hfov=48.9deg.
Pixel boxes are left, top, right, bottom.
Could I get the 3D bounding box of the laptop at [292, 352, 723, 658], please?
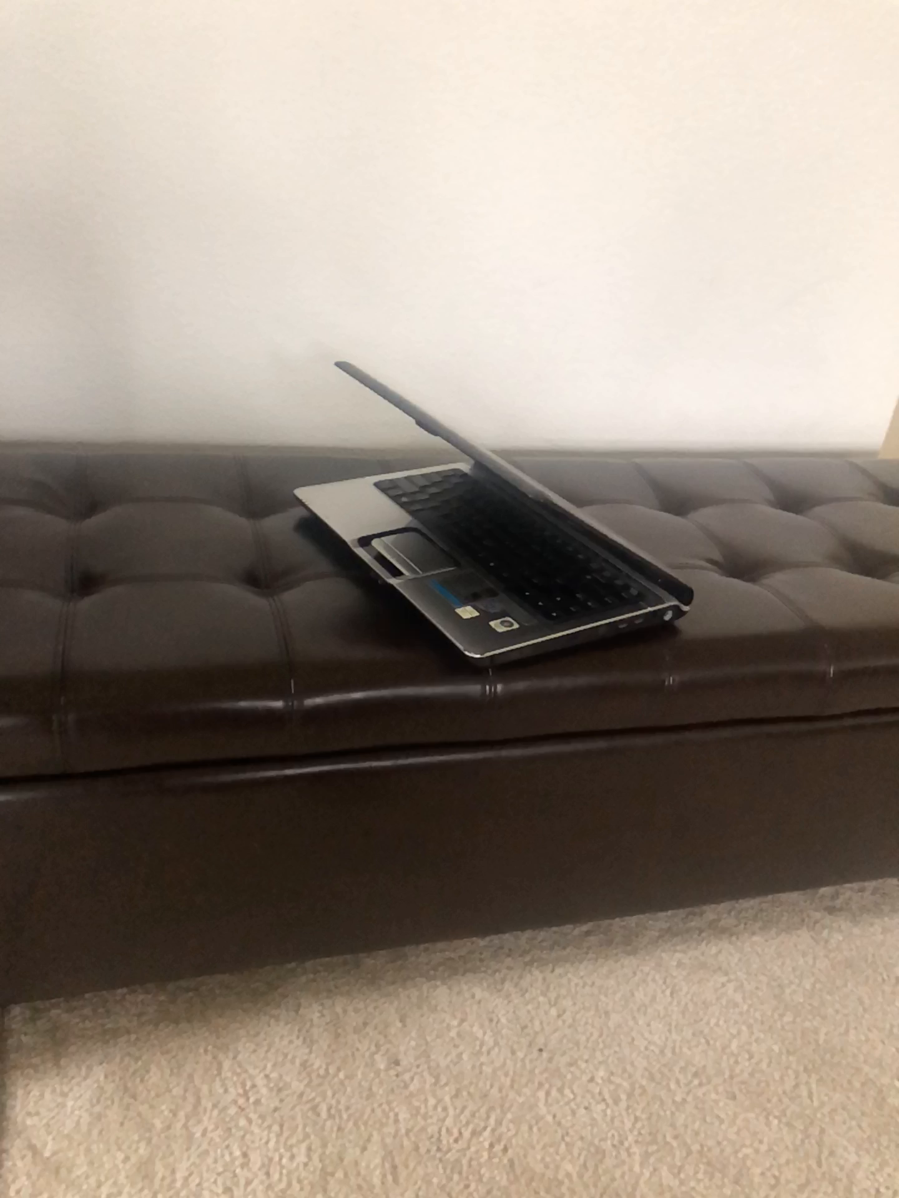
[{"bbox_3d":[0.033,-0.108,0.886,0.230,0.122,0.334,-12,34,-31],"label":"laptop"}]
